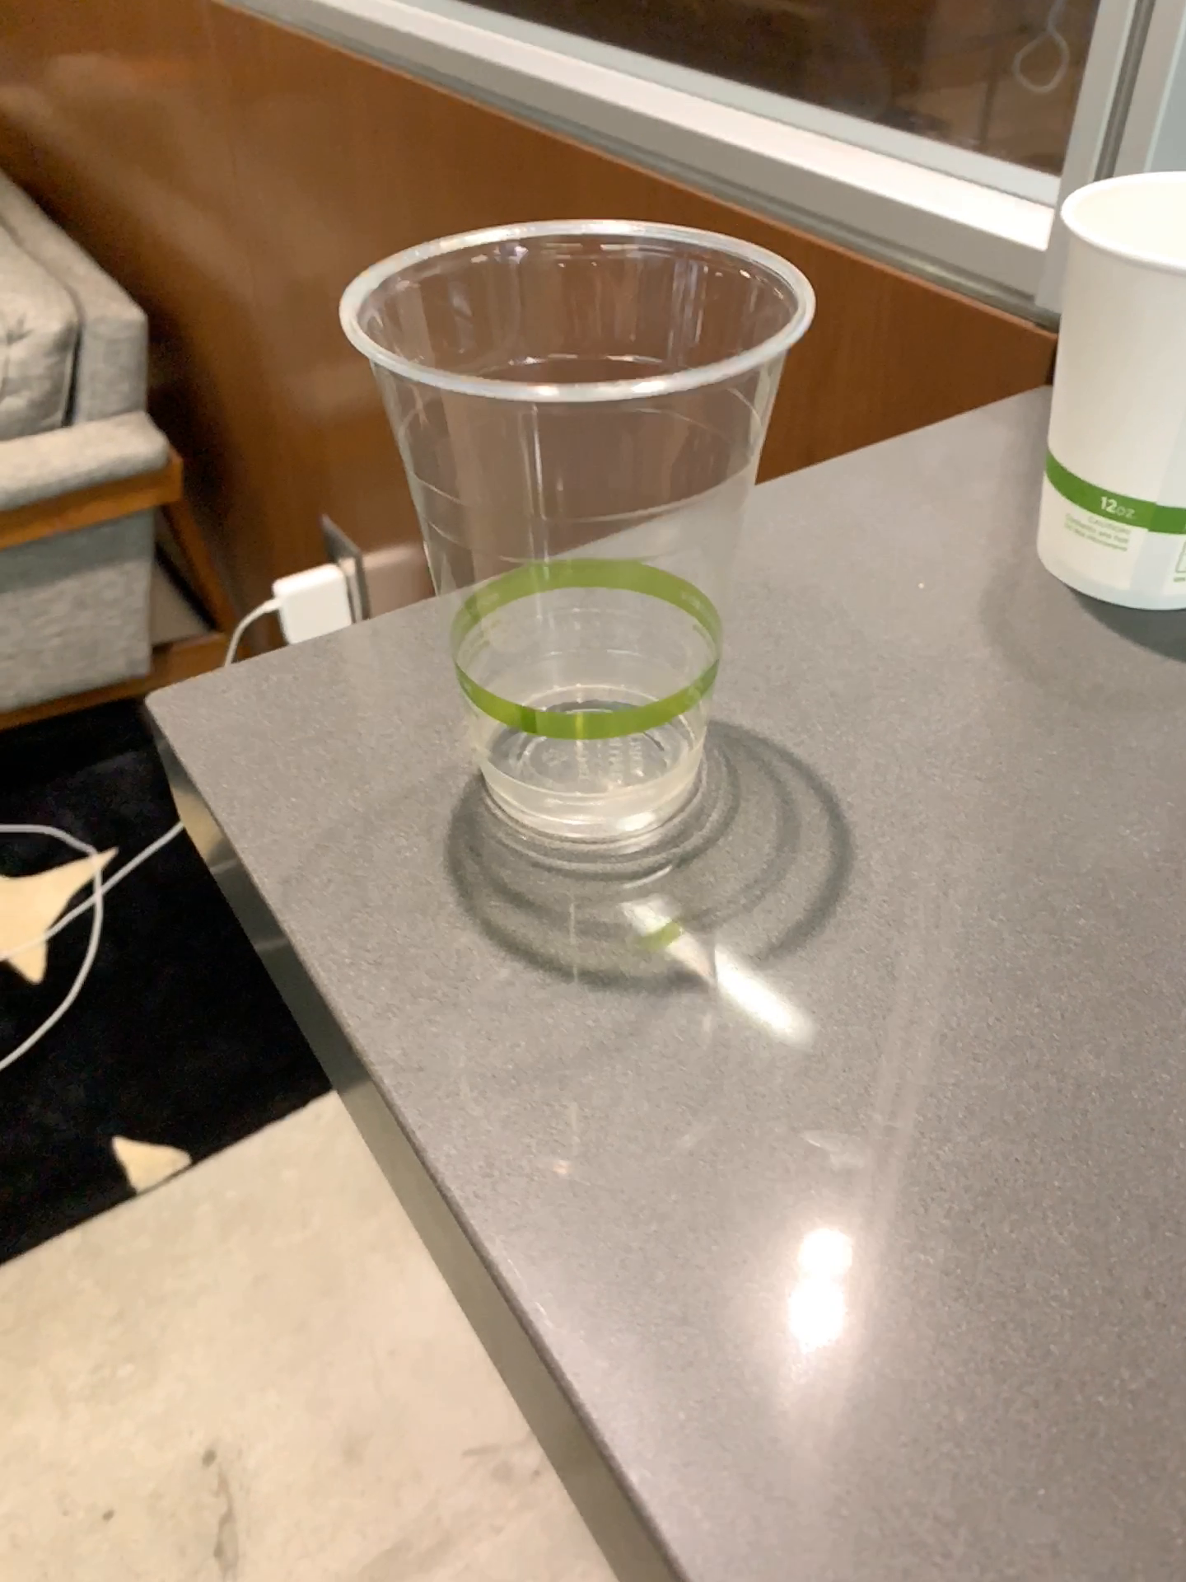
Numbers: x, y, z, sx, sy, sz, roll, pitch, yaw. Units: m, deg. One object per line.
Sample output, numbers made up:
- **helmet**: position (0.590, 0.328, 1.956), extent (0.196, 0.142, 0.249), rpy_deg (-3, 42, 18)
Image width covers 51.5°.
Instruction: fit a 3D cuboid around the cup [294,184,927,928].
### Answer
- **cup**: position (0.000, -0.056, 0.278), extent (0.090, 0.119, 0.091), rpy_deg (0, 41, 0)
